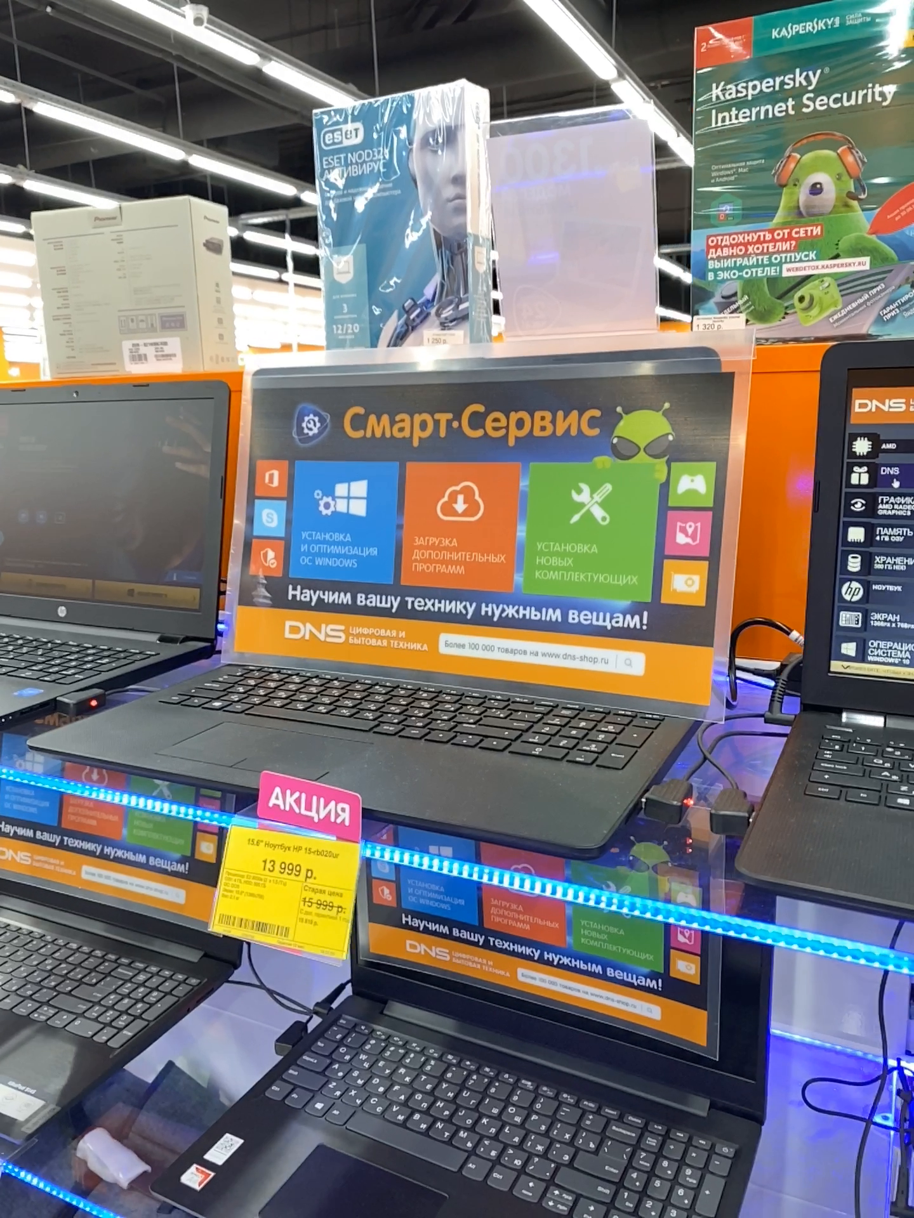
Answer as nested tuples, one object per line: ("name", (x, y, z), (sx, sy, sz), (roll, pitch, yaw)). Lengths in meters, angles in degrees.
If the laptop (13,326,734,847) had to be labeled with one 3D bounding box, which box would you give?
("laptop", (-0.041, -0.042, 0.616), (0.377, 0.235, 0.262), (4, 13, 27))
